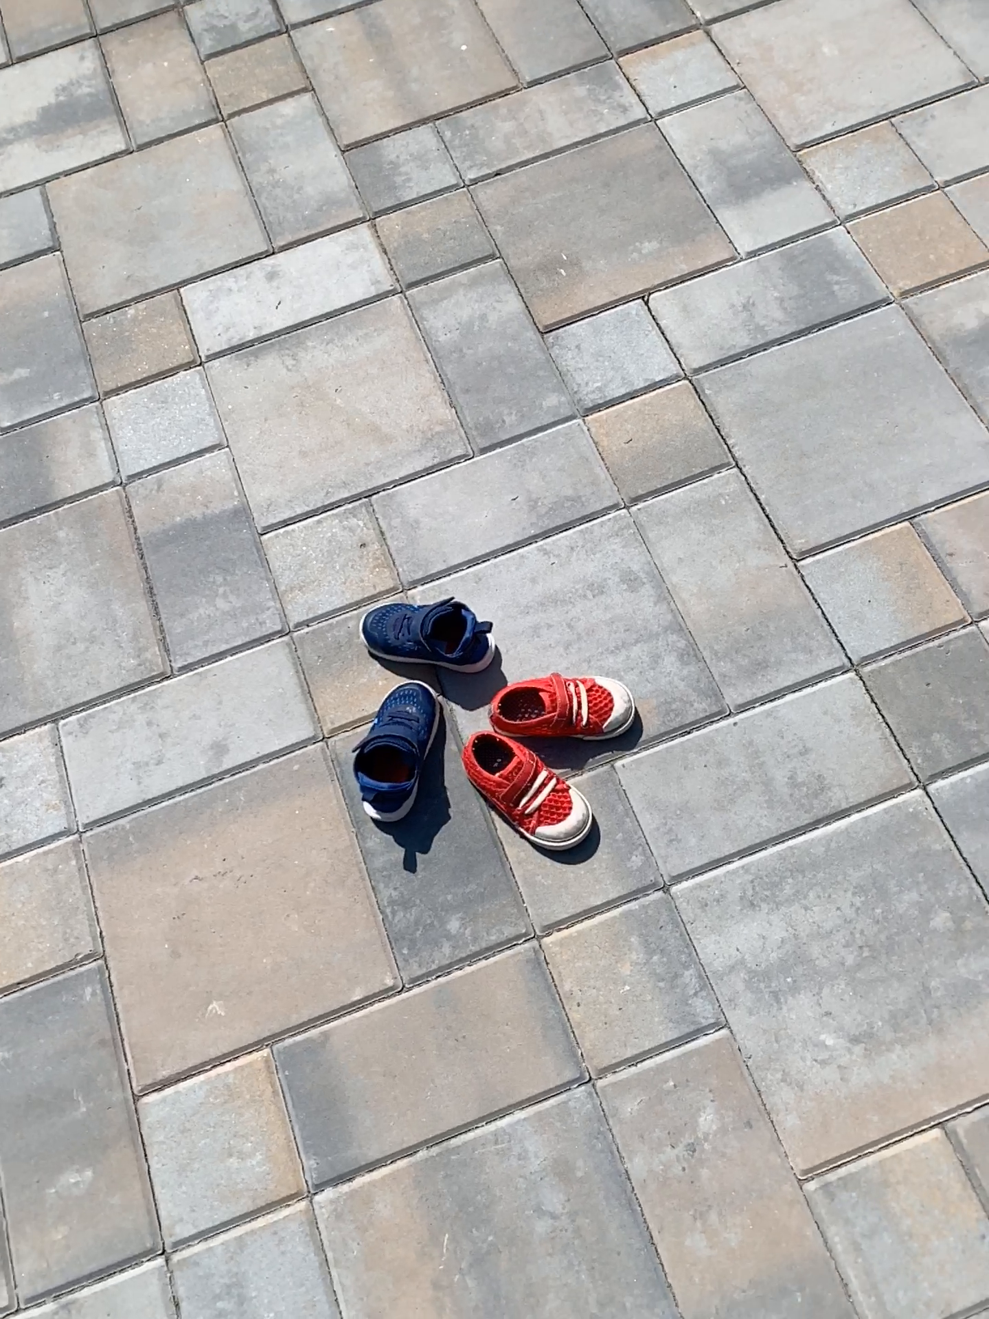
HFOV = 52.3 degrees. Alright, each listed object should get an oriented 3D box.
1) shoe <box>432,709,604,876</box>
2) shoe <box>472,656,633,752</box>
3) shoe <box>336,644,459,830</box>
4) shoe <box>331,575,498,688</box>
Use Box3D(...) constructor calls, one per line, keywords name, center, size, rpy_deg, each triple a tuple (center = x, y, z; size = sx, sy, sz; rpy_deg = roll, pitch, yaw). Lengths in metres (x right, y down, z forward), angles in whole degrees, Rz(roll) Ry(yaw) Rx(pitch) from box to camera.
Box3D(name="shoe", center=(0.026, 0.145, 1.101), size=(0.170, 0.070, 0.080), rpy_deg=(36, 75, 18))
Box3D(name="shoe", center=(0.063, 0.050, 1.110), size=(0.170, 0.070, 0.080), rpy_deg=(-2, 67, 4))
Box3D(name="shoe", center=(-0.106, 0.088, 1.141), size=(0.090, 0.090, 0.180), rpy_deg=(7, 68, 8))
Box3D(name="shoe", center=(-0.090, -0.032, 1.166), size=(0.170, 0.070, 0.080), rpy_deg=(11, 69, 9))
